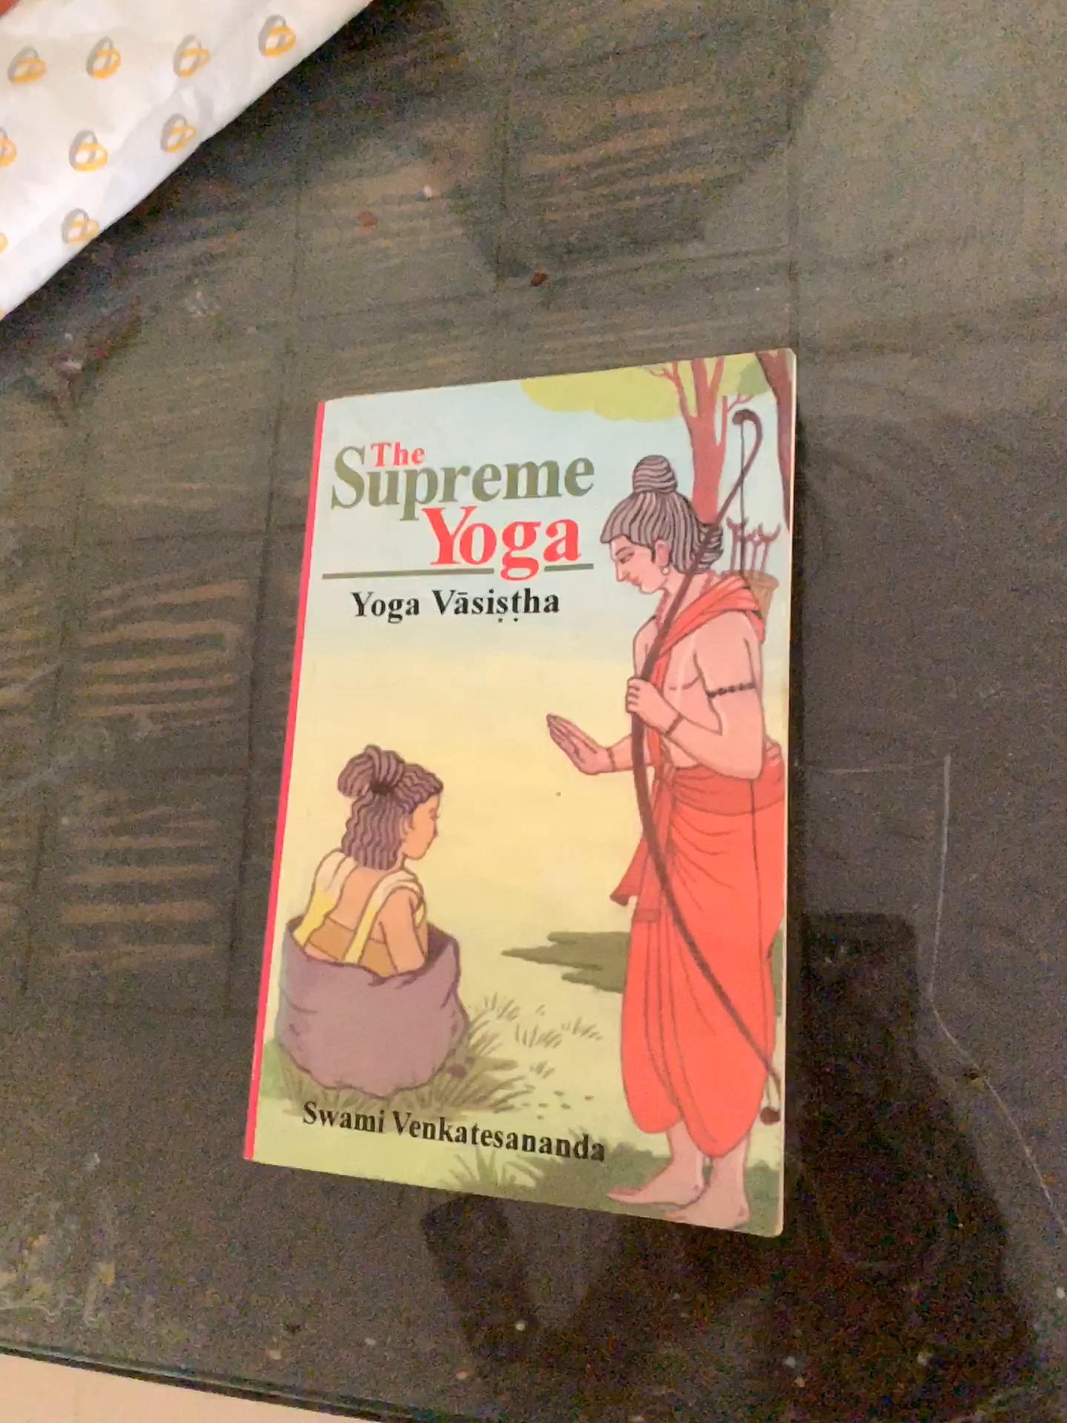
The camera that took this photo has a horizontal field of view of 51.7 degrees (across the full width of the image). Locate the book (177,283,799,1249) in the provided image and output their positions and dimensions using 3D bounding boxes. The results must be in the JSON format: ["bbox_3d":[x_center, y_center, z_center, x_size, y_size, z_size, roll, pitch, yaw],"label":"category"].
[{"bbox_3d":[-0.008,0.006,0.273,0.140,0.030,0.210,-1,78,19],"label":"book"}]
